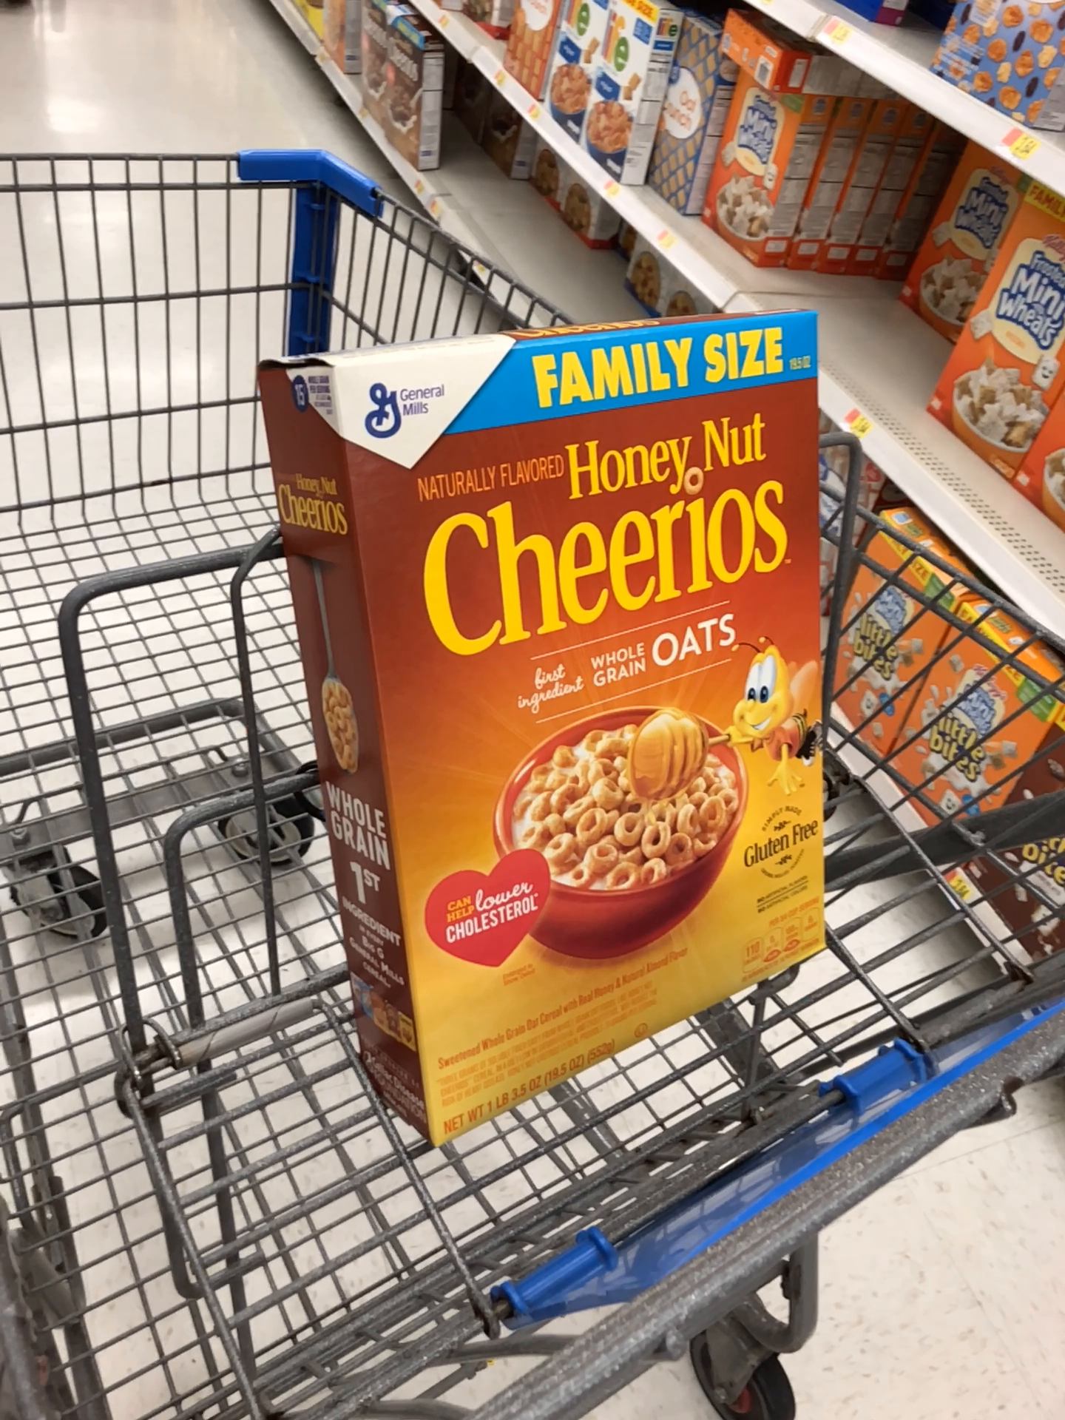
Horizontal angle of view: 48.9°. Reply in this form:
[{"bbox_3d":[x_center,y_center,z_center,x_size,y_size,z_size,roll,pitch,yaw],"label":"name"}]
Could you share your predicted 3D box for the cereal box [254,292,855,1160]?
[{"bbox_3d":[0.031,-0.005,0.530,0.250,0.330,0.070,-16,22,-31],"label":"cereal box"}]
